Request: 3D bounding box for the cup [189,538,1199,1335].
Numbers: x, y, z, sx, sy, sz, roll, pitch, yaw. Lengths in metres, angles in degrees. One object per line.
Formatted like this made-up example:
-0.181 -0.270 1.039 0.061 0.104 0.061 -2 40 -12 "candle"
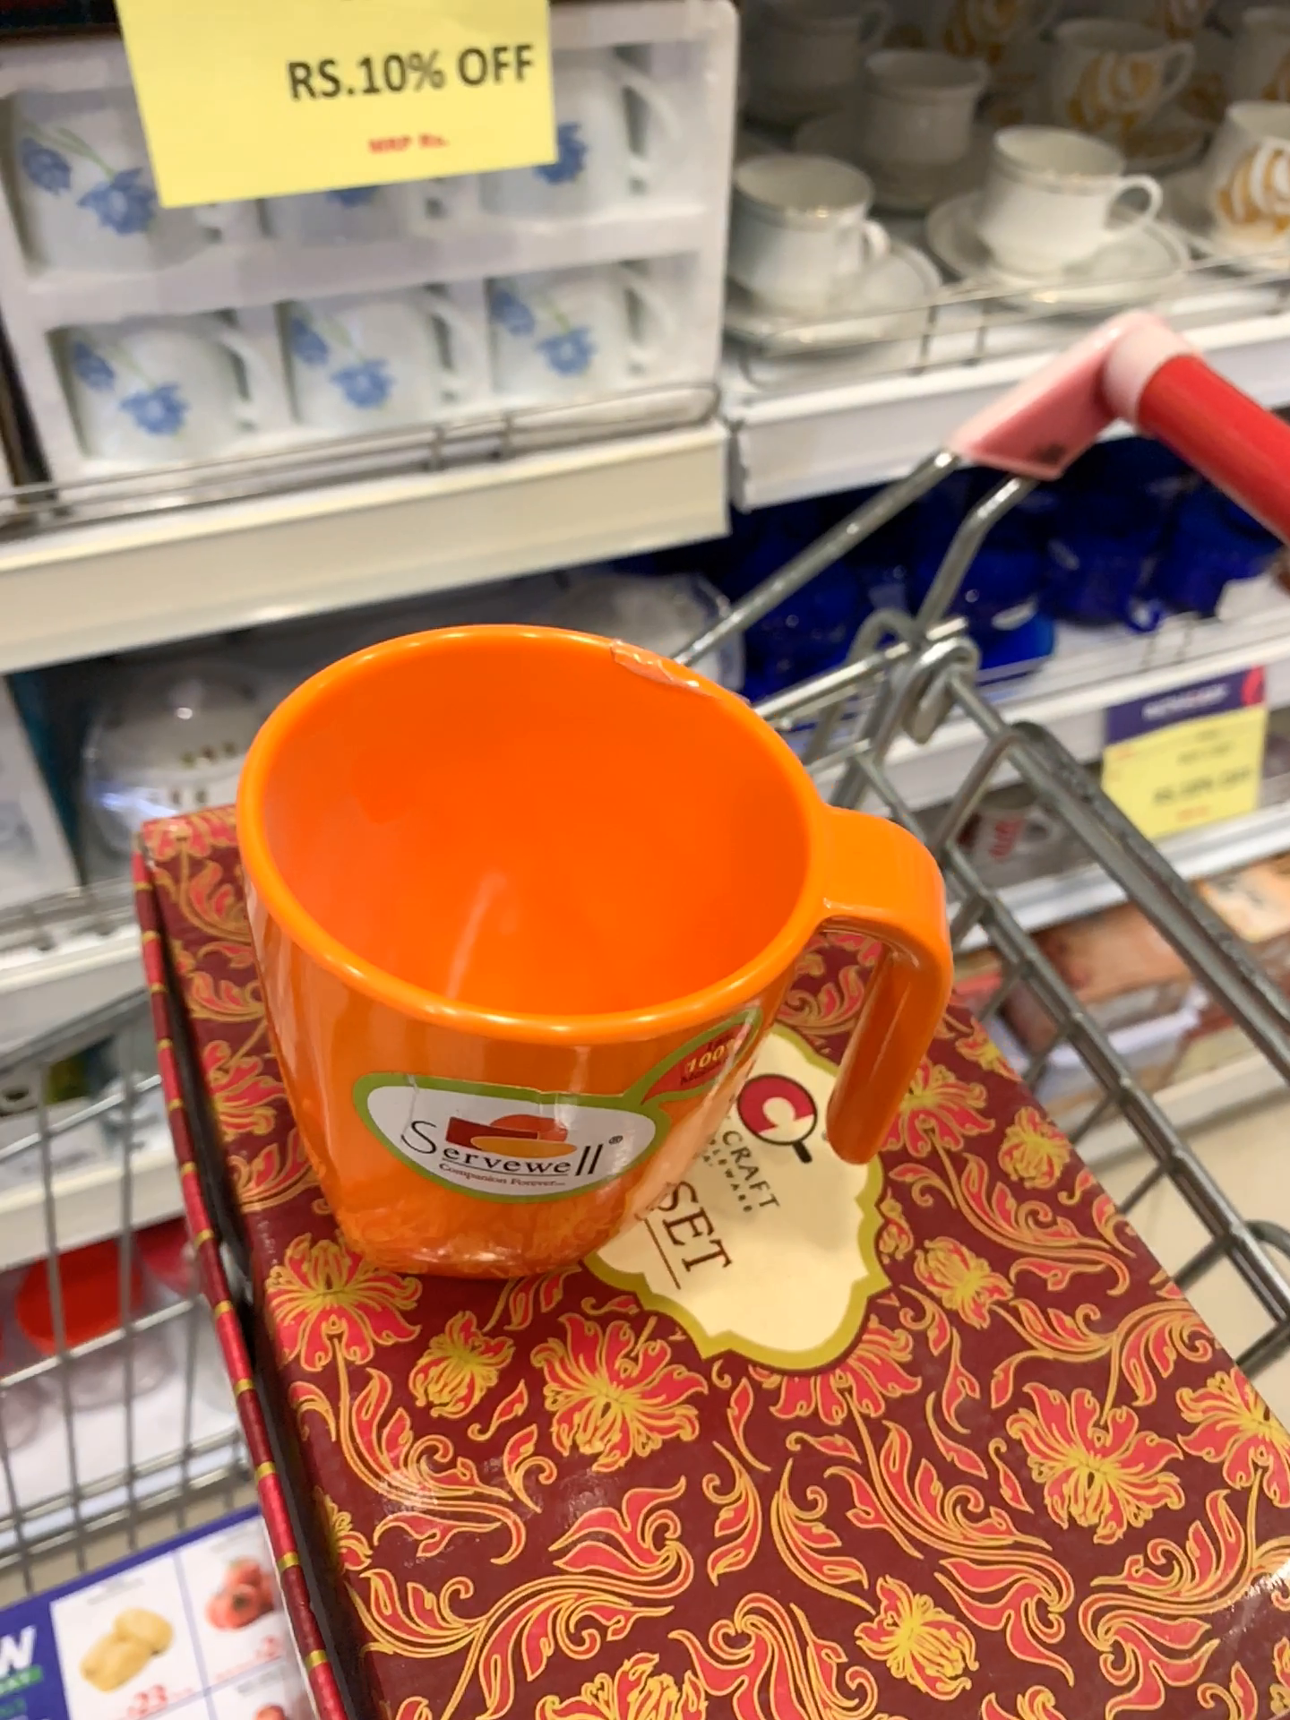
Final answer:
0.002 0.012 0.197 0.110 0.070 0.080 6 47 -6 "cup"
